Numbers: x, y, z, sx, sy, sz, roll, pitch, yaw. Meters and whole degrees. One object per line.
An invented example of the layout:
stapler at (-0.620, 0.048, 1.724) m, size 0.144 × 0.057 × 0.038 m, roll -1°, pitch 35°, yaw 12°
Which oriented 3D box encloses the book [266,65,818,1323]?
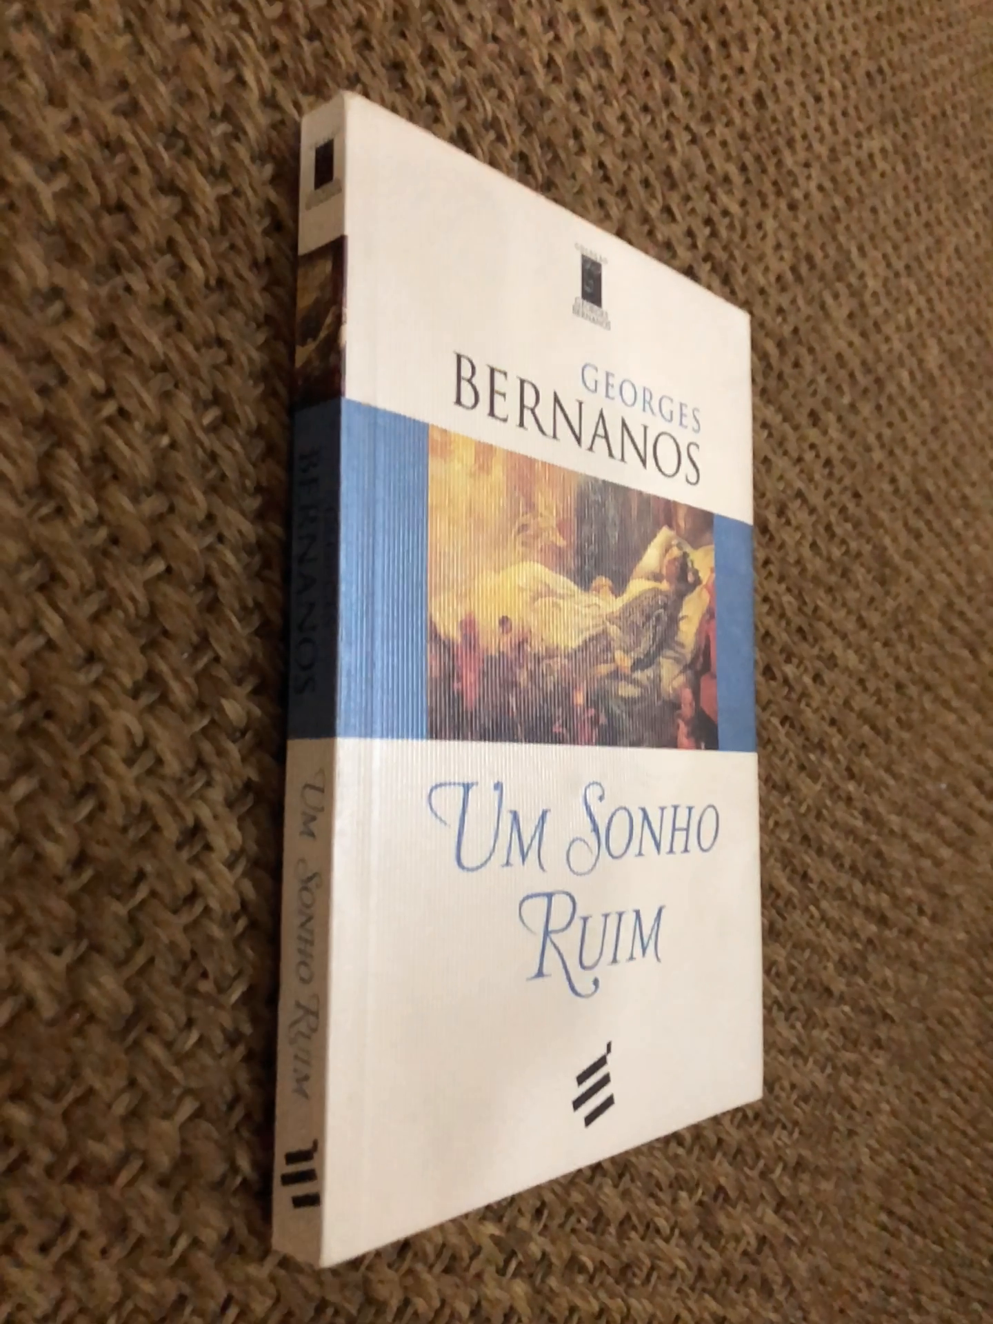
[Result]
book at (0.020, 0.006, 0.229) m, size 0.141 × 0.020 × 0.199 m, roll 6°, pitch 81°, yaw -46°
